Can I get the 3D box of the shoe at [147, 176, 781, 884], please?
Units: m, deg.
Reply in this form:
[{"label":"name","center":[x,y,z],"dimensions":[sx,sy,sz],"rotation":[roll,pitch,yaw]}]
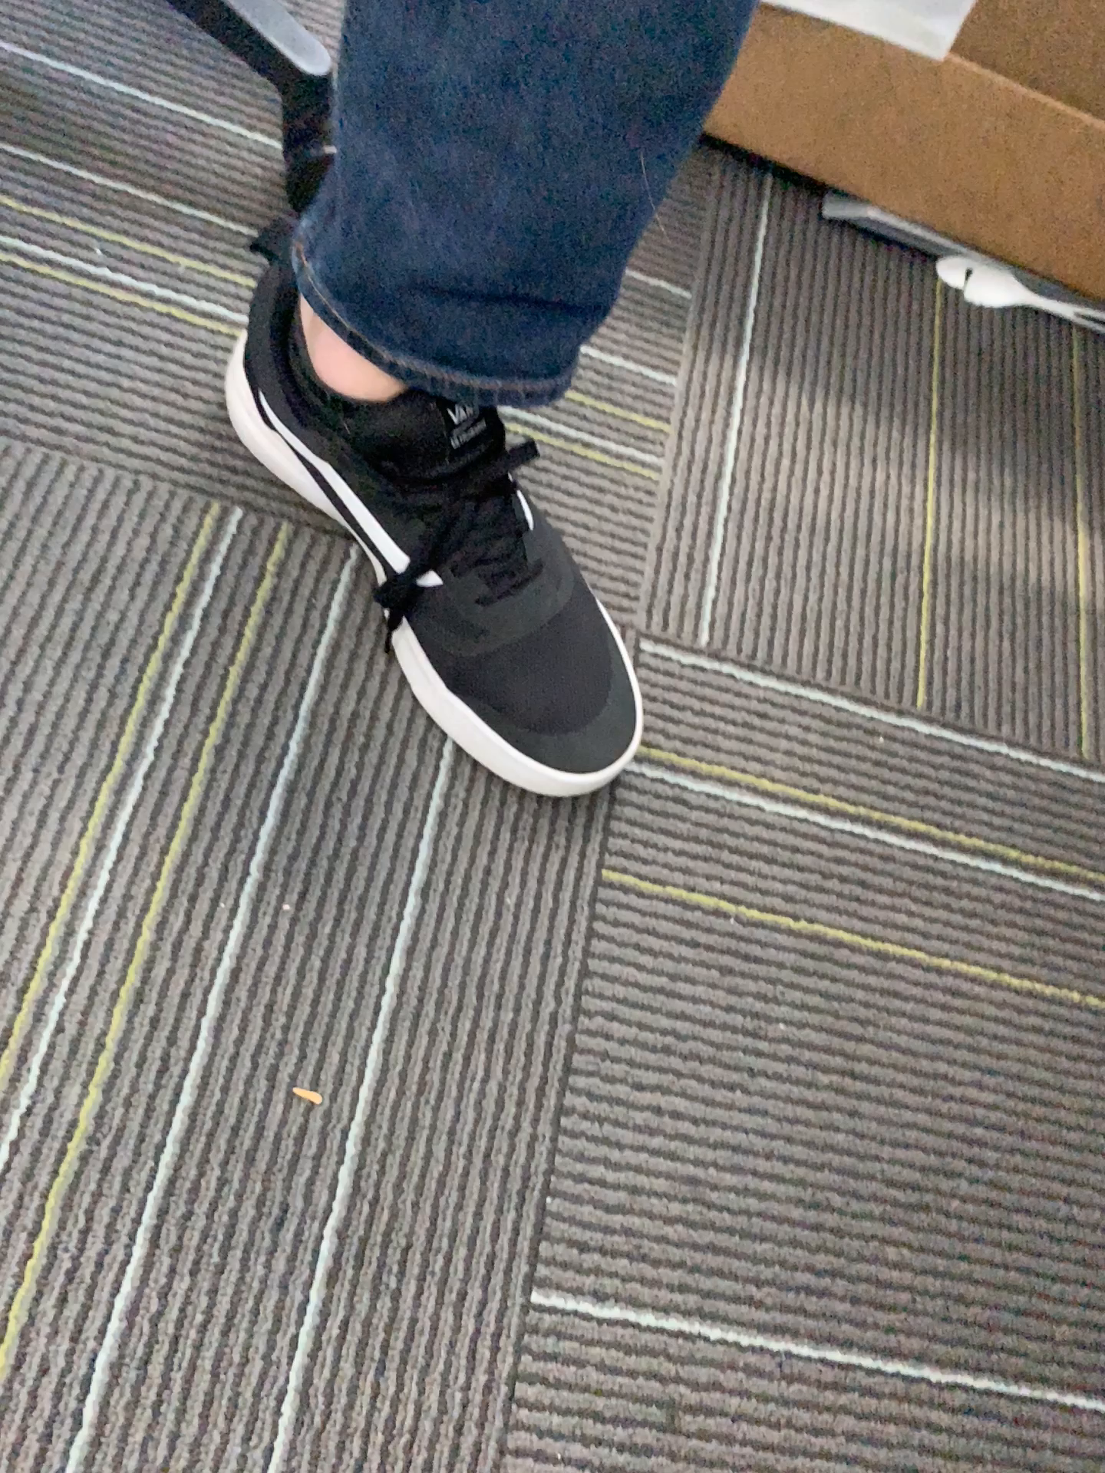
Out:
[{"label":"shoe","center":[-0.053,-0.102,0.563],"dimensions":[0.120,0.110,0.320],"rotation":[-34,81,-25]}]
